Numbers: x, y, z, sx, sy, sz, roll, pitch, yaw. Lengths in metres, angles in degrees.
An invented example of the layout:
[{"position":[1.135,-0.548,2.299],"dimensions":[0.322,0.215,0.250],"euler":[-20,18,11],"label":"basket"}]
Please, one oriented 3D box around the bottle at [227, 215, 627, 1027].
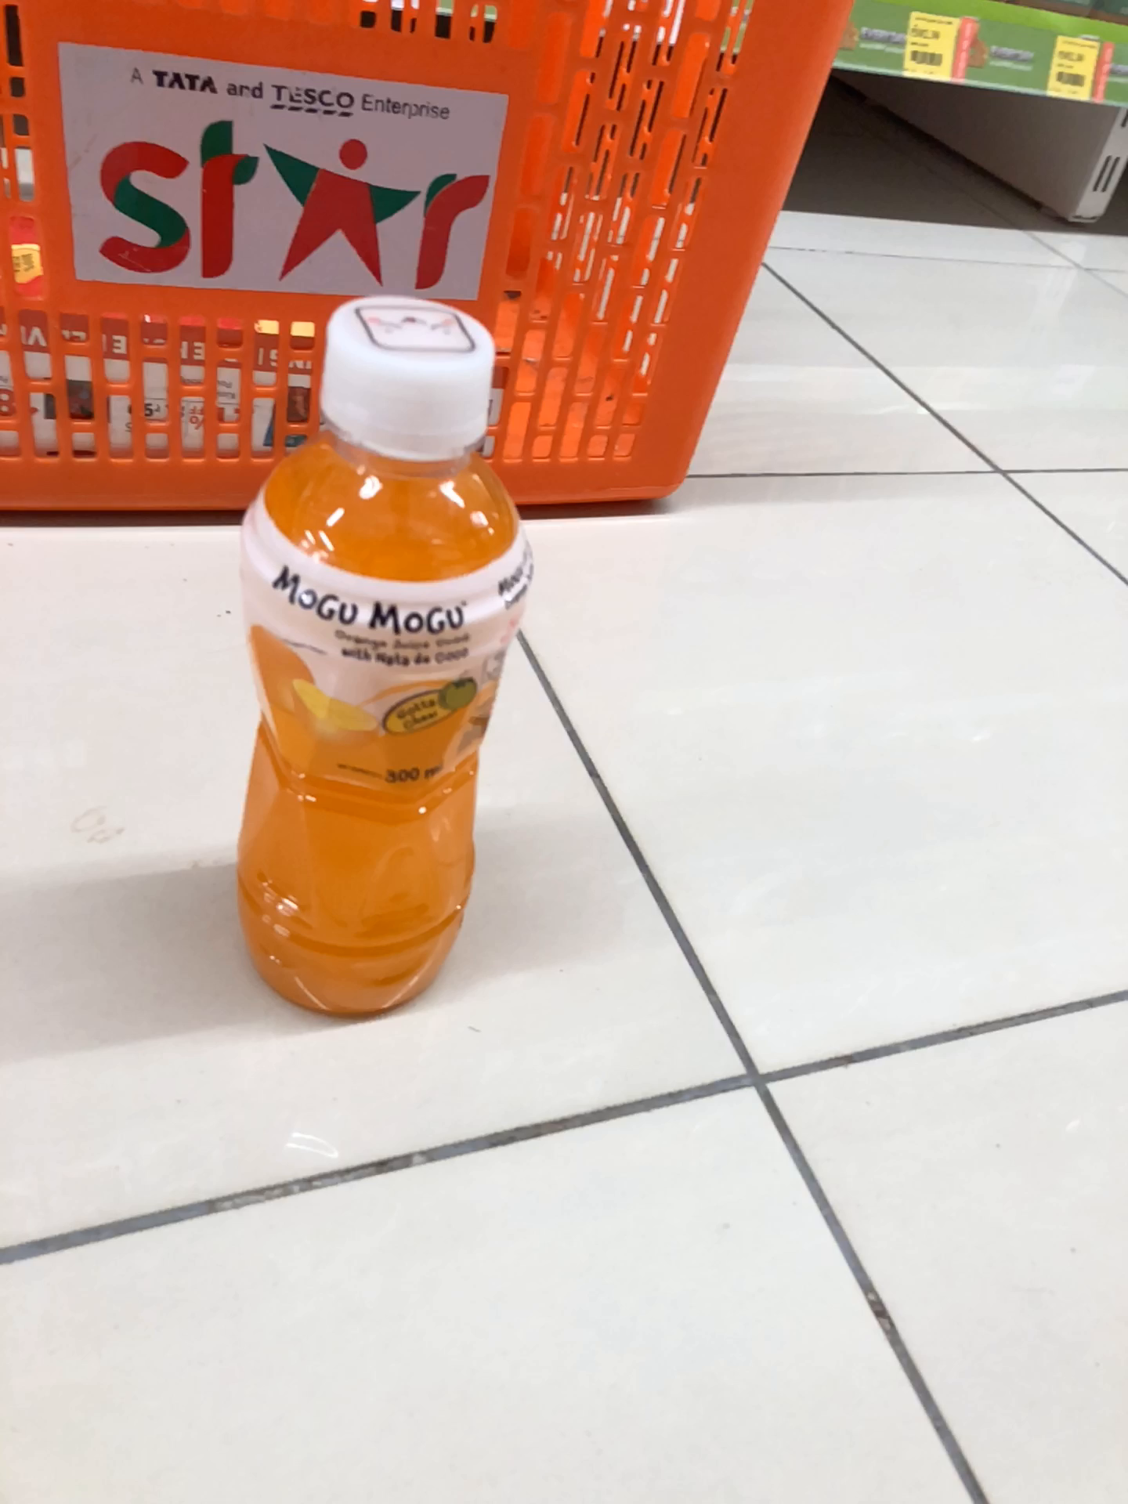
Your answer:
[{"position":[-0.038,-0.017,0.265],"dimensions":[0.060,0.159,0.066],"euler":[8,40,-7],"label":"bottle"}]
